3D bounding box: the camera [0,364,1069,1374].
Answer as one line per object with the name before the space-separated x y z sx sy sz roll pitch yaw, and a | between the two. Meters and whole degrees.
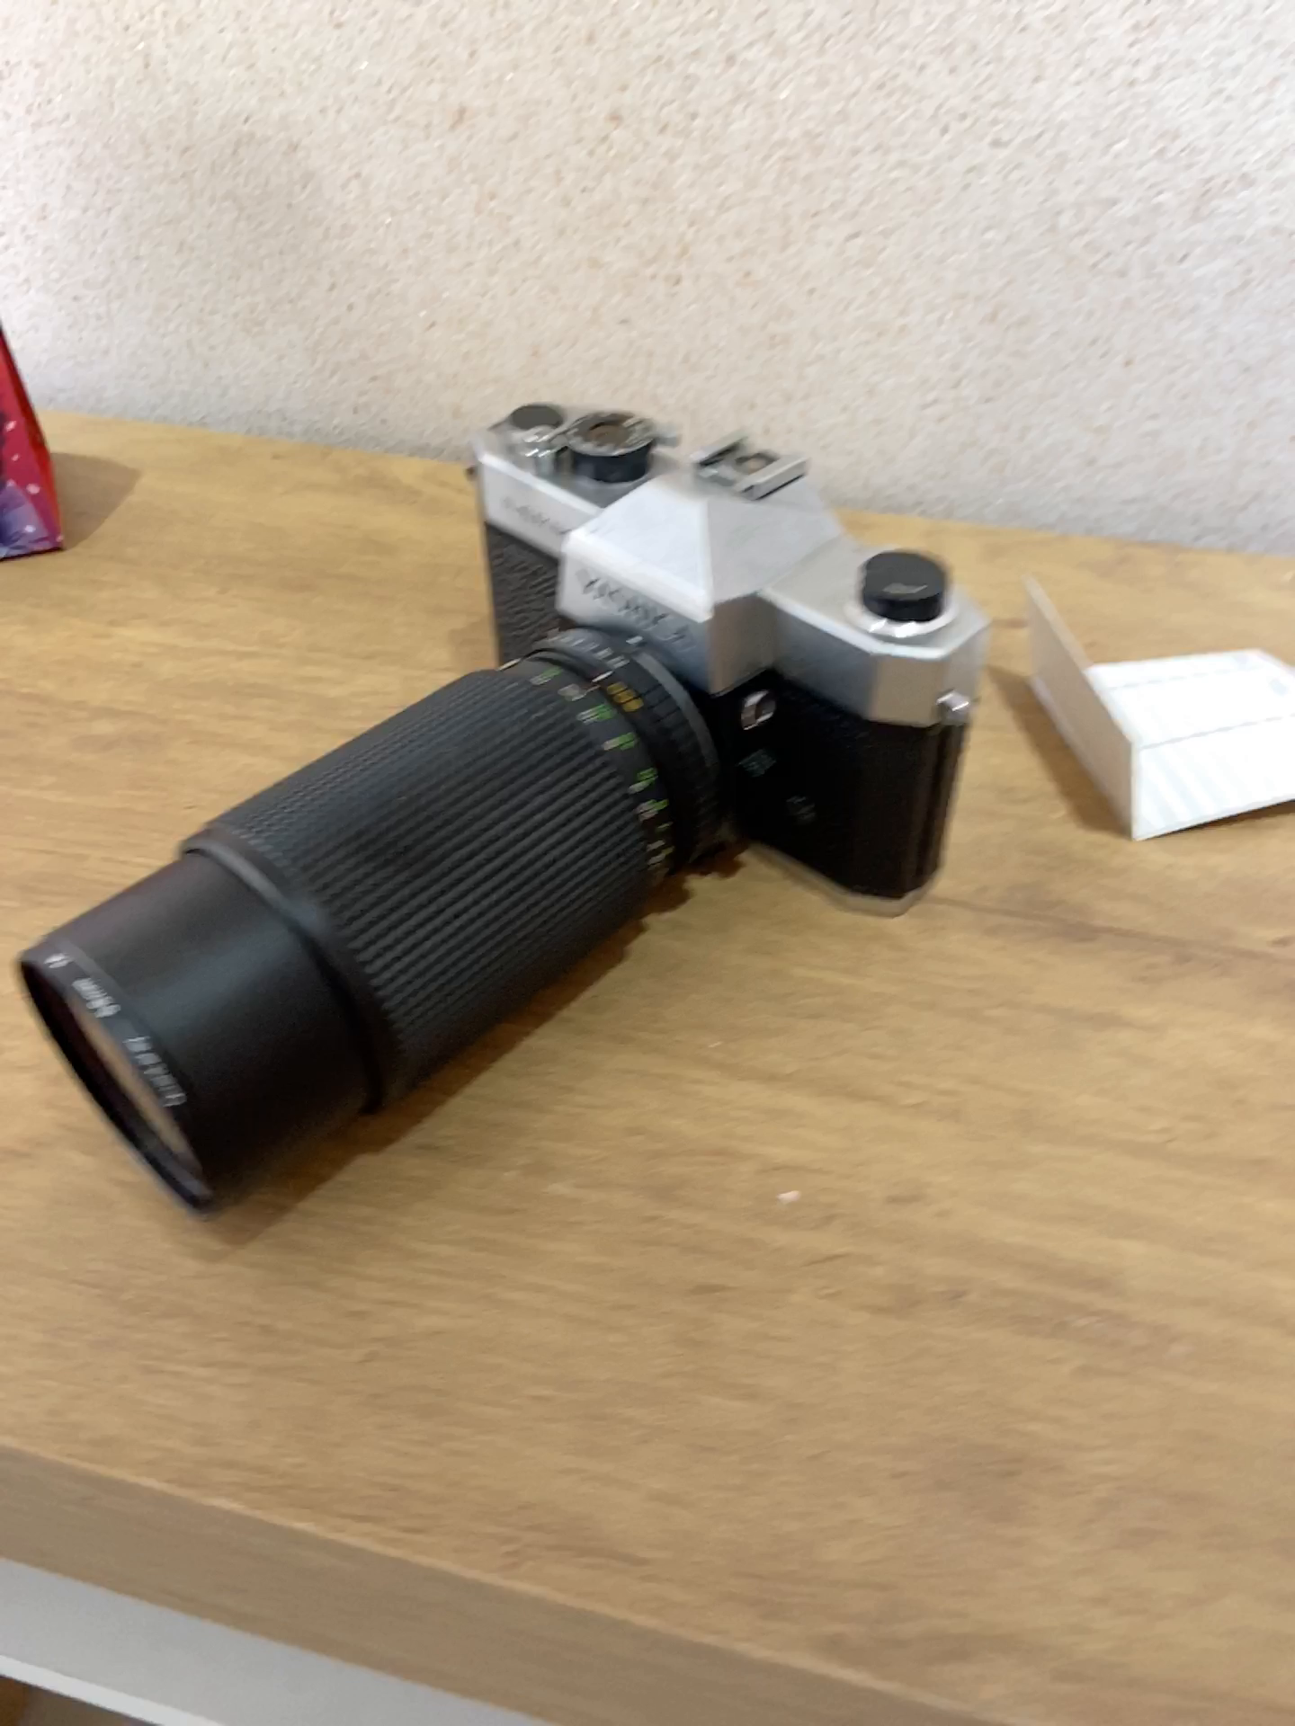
camera | -0.035 -0.022 0.303 0.201 0.080 0.150 -33 51 -28
